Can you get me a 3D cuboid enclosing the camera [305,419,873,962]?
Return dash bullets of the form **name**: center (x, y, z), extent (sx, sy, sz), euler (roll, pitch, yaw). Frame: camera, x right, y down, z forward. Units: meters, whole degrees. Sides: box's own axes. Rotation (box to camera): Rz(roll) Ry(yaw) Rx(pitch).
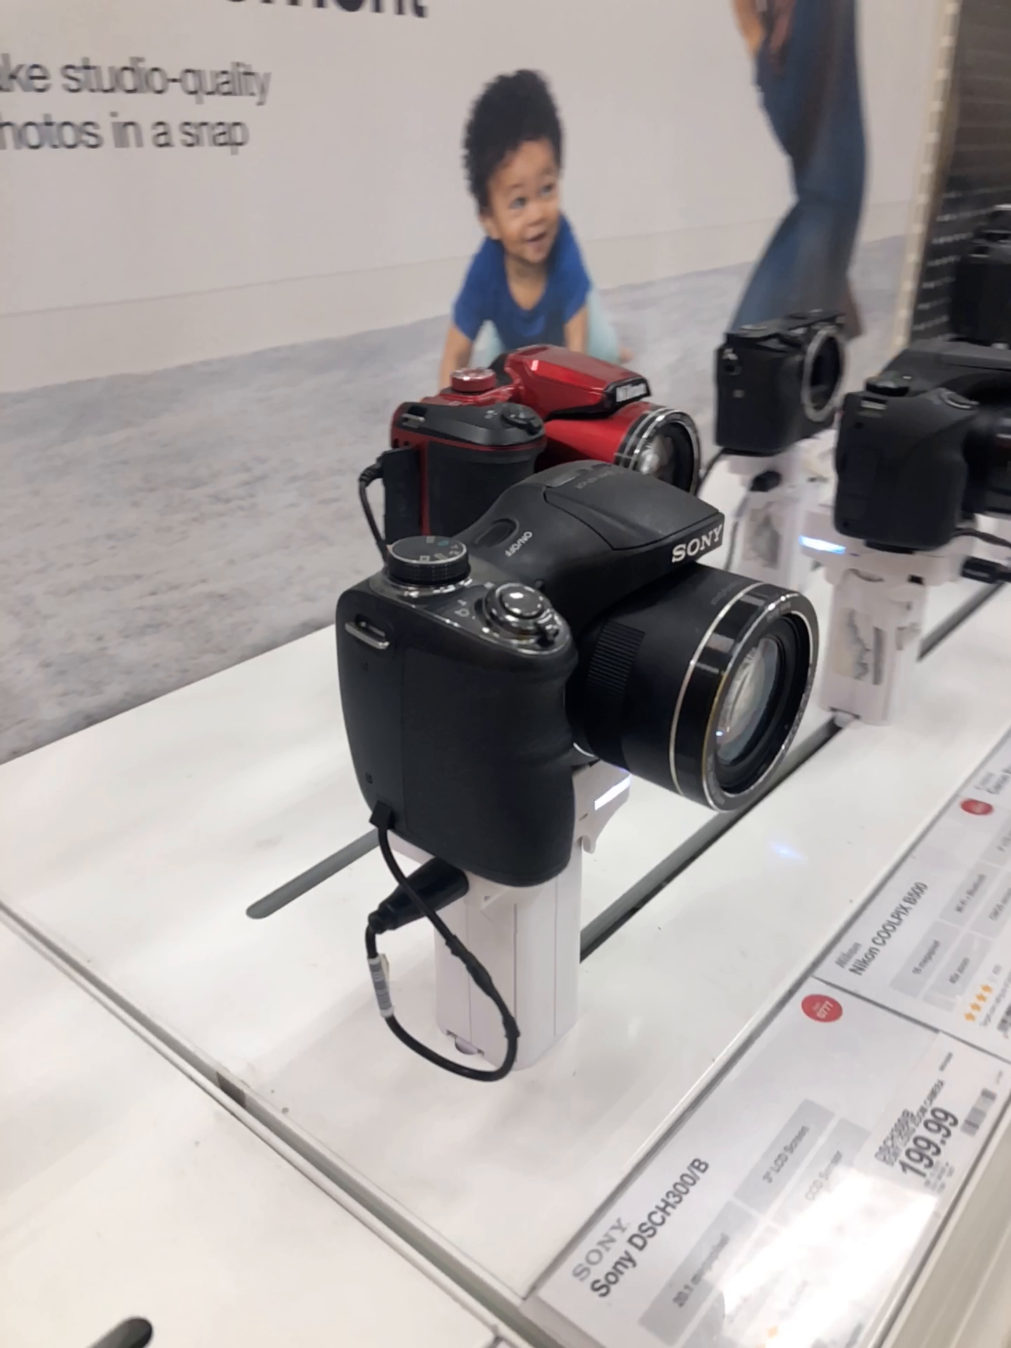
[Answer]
- **camera**: center (0.027, -0.008, 0.314), extent (0.090, 0.090, 0.131), euler (20, 32, 35)
